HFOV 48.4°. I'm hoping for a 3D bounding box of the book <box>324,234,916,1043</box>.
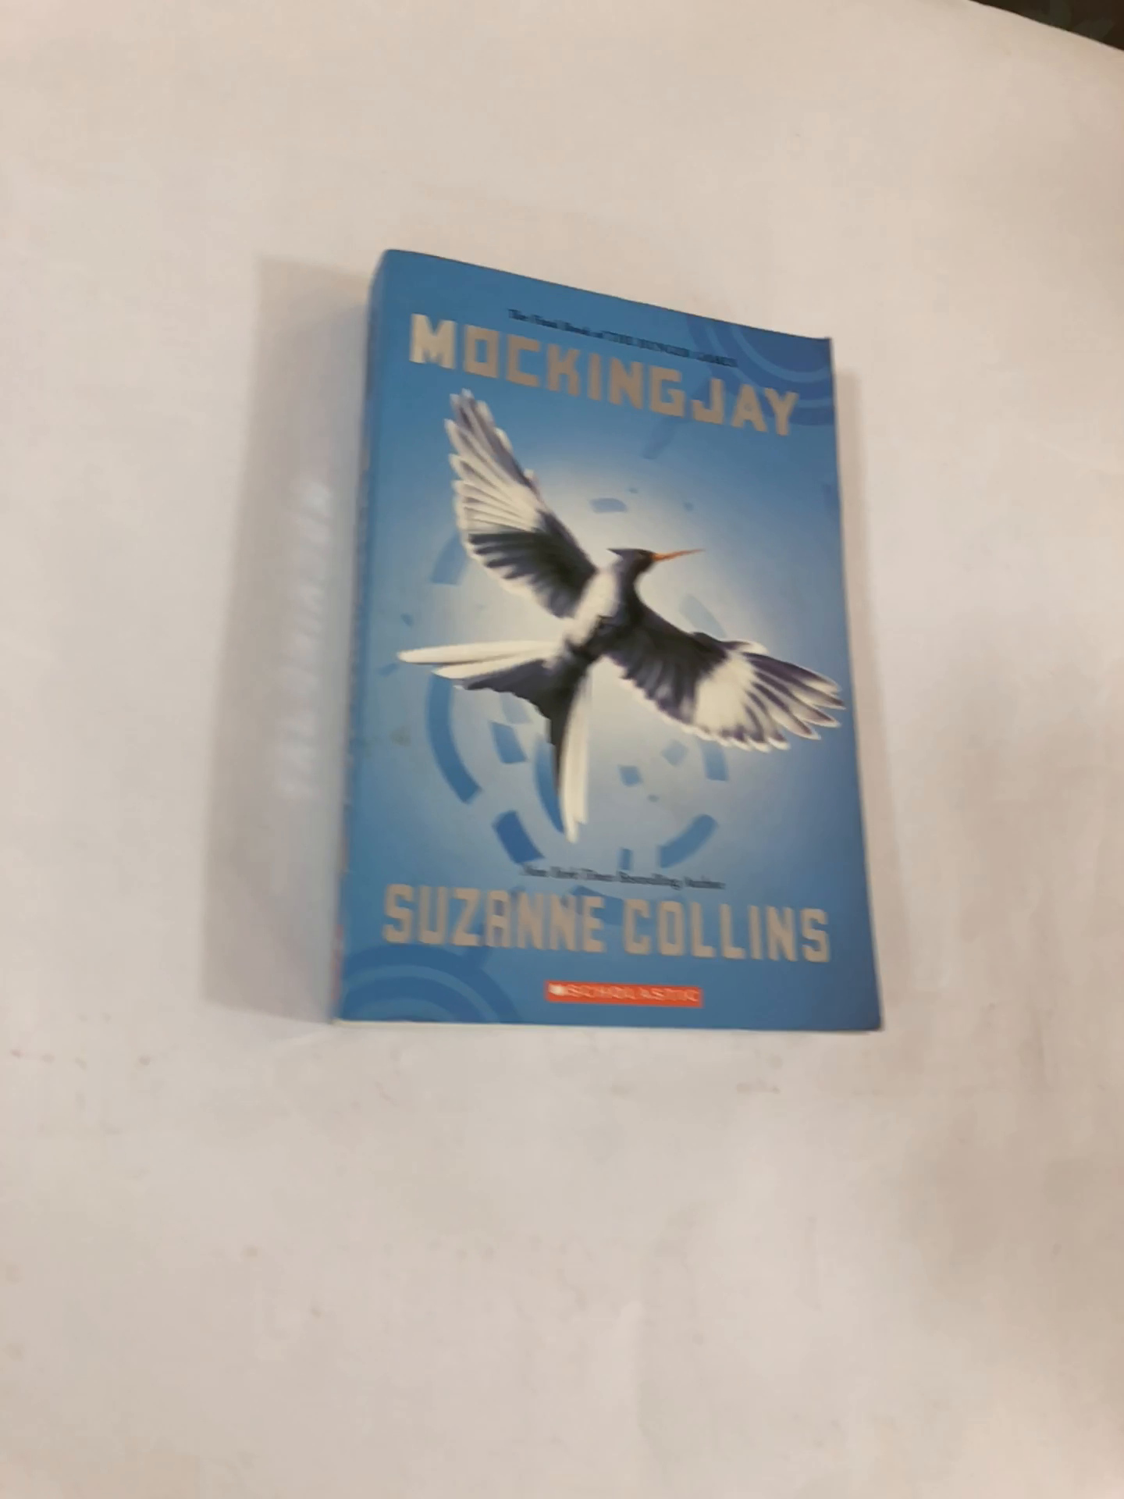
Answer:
[{"bbox_3d":[0.016,-0.025,0.318,0.138,0.029,0.190,6,74,-19],"label":"book"}]
